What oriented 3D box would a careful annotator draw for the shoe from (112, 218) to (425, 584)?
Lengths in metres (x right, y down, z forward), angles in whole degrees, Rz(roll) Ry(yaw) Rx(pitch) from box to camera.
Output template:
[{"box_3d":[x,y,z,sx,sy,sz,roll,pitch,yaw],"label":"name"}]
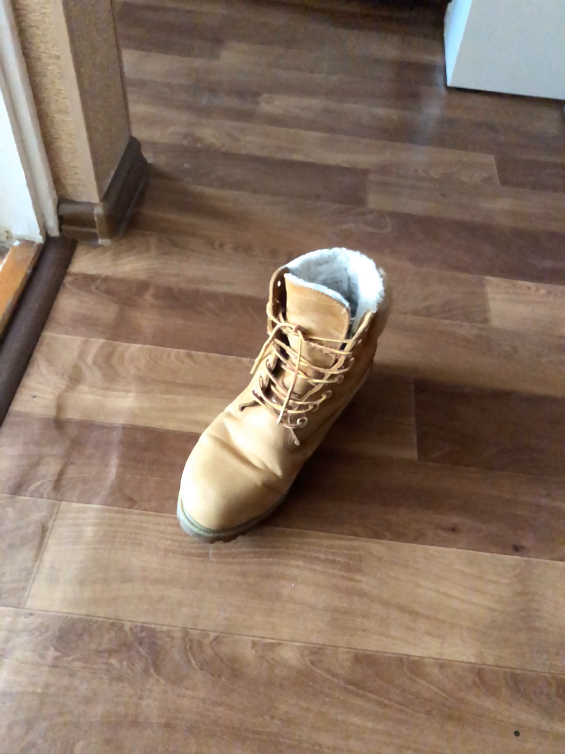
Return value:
[{"box_3d":[-0.003,0.015,0.598,0.120,0.179,0.291,31,55,18],"label":"shoe"}]
